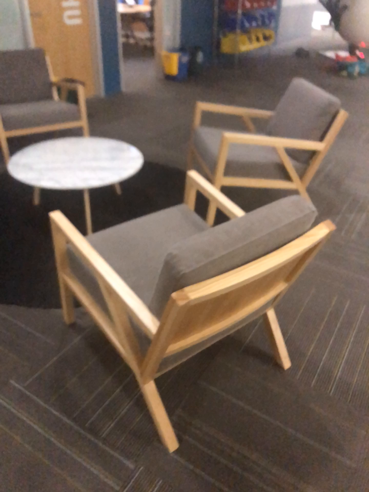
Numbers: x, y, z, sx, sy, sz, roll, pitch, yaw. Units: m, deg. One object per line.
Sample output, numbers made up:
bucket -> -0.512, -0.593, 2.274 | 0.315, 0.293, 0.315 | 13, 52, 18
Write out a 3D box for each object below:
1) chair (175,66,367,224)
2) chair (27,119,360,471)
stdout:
chair -> 0.469, -0.655, 2.670 | 0.871, 0.753, 0.725 | -1, 33, -14
chair -> -0.019, 0.094, 1.537 | 0.724, 0.773, 0.803 | -22, 44, -31
